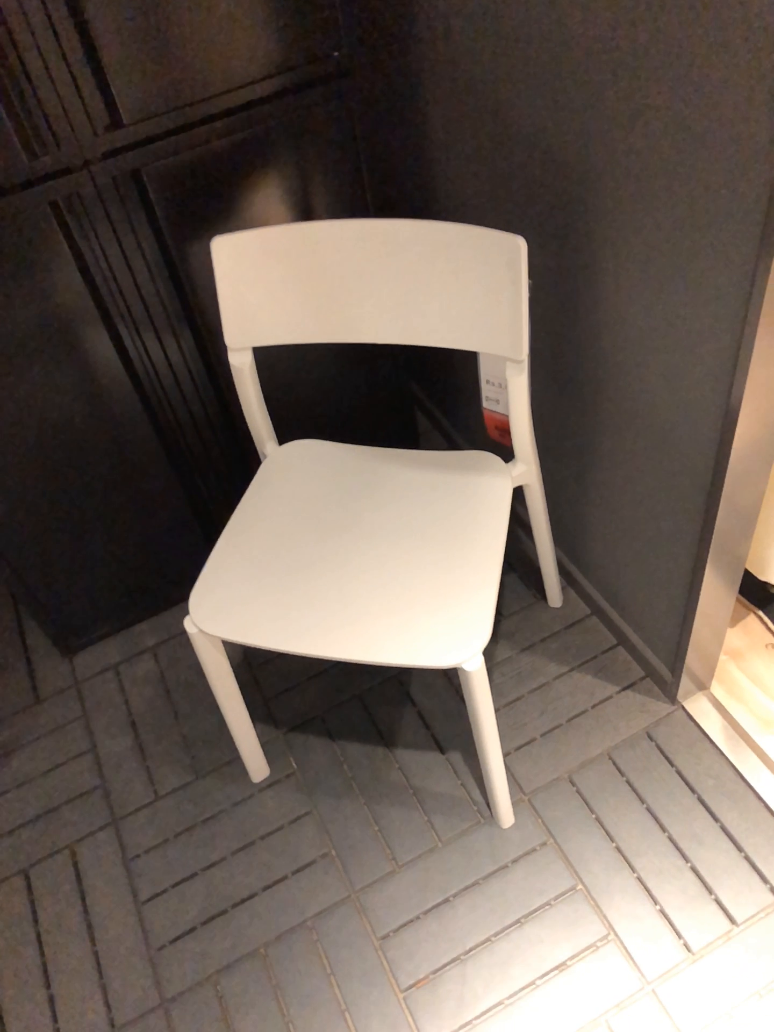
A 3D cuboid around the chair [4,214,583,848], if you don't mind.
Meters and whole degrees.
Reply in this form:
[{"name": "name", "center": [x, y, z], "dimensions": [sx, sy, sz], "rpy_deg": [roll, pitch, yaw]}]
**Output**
[{"name": "chair", "center": [-0.022, 0.037, 1.157], "dimensions": [0.500, 0.706, 0.473], "rpy_deg": [6, 50, 15]}]
